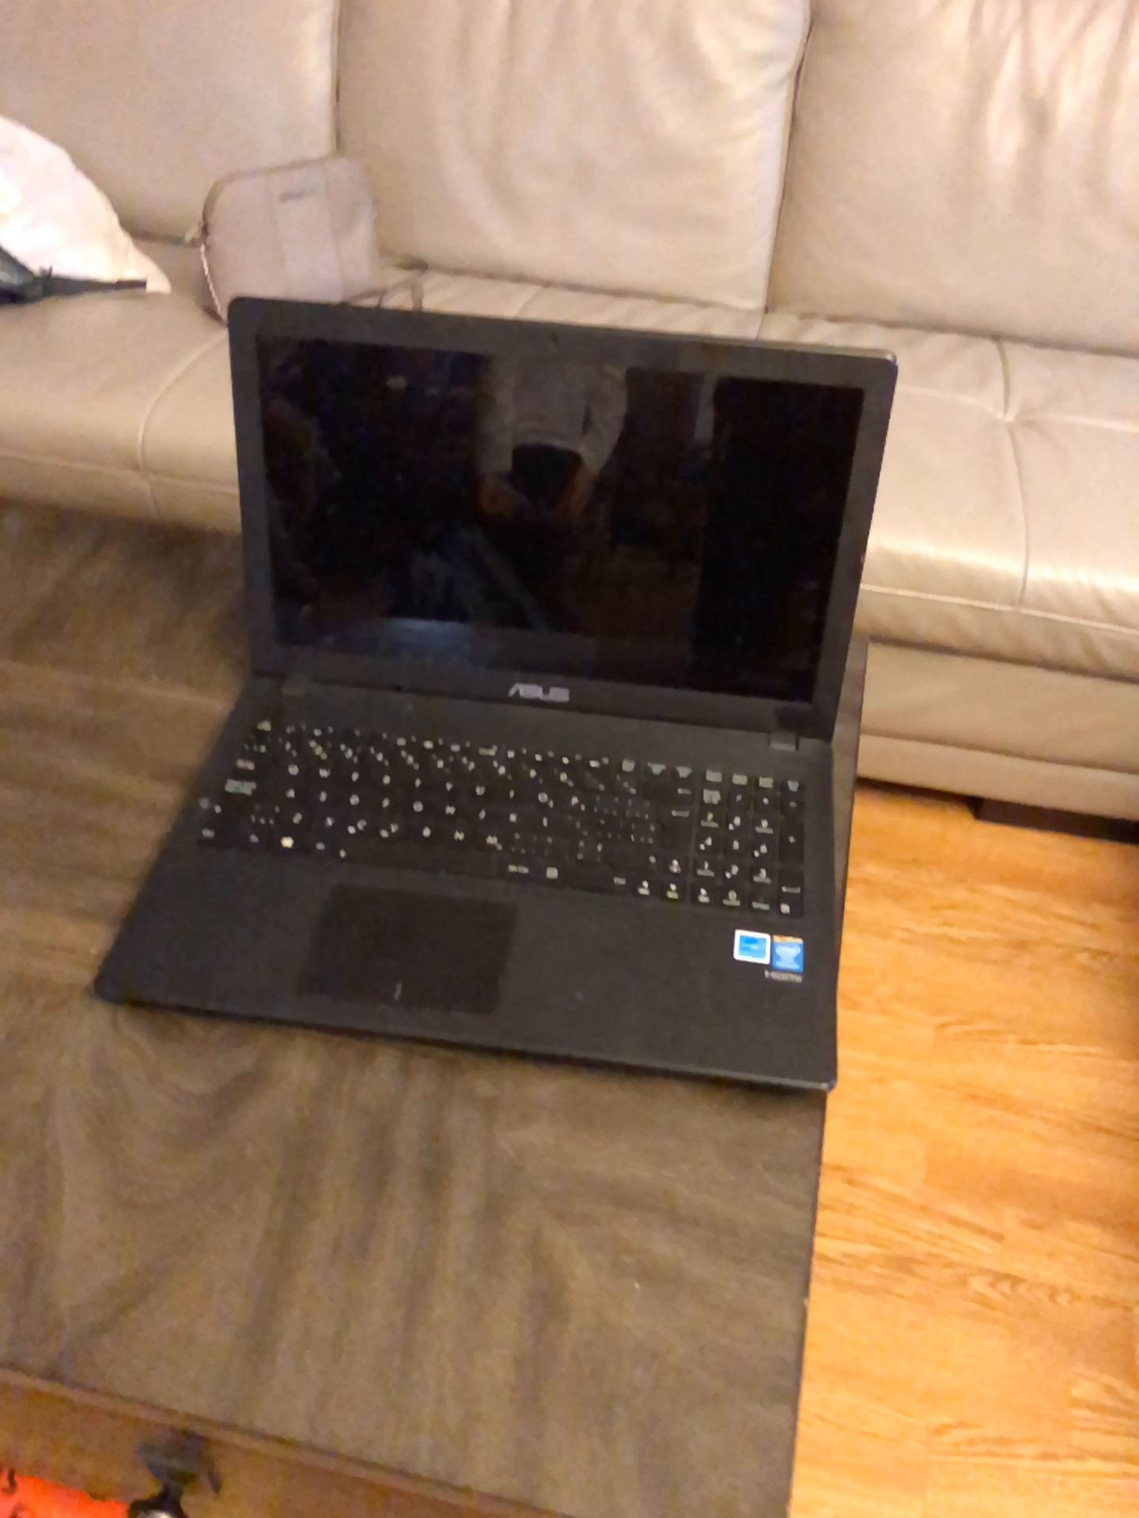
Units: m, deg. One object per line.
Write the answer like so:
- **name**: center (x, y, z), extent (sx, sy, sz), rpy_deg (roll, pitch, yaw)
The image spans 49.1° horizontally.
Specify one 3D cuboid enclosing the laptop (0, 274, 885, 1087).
- **laptop**: center (-0.044, -0.058, 0.650), extent (0.355, 0.216, 0.317), rpy_deg (7, 45, 5)
